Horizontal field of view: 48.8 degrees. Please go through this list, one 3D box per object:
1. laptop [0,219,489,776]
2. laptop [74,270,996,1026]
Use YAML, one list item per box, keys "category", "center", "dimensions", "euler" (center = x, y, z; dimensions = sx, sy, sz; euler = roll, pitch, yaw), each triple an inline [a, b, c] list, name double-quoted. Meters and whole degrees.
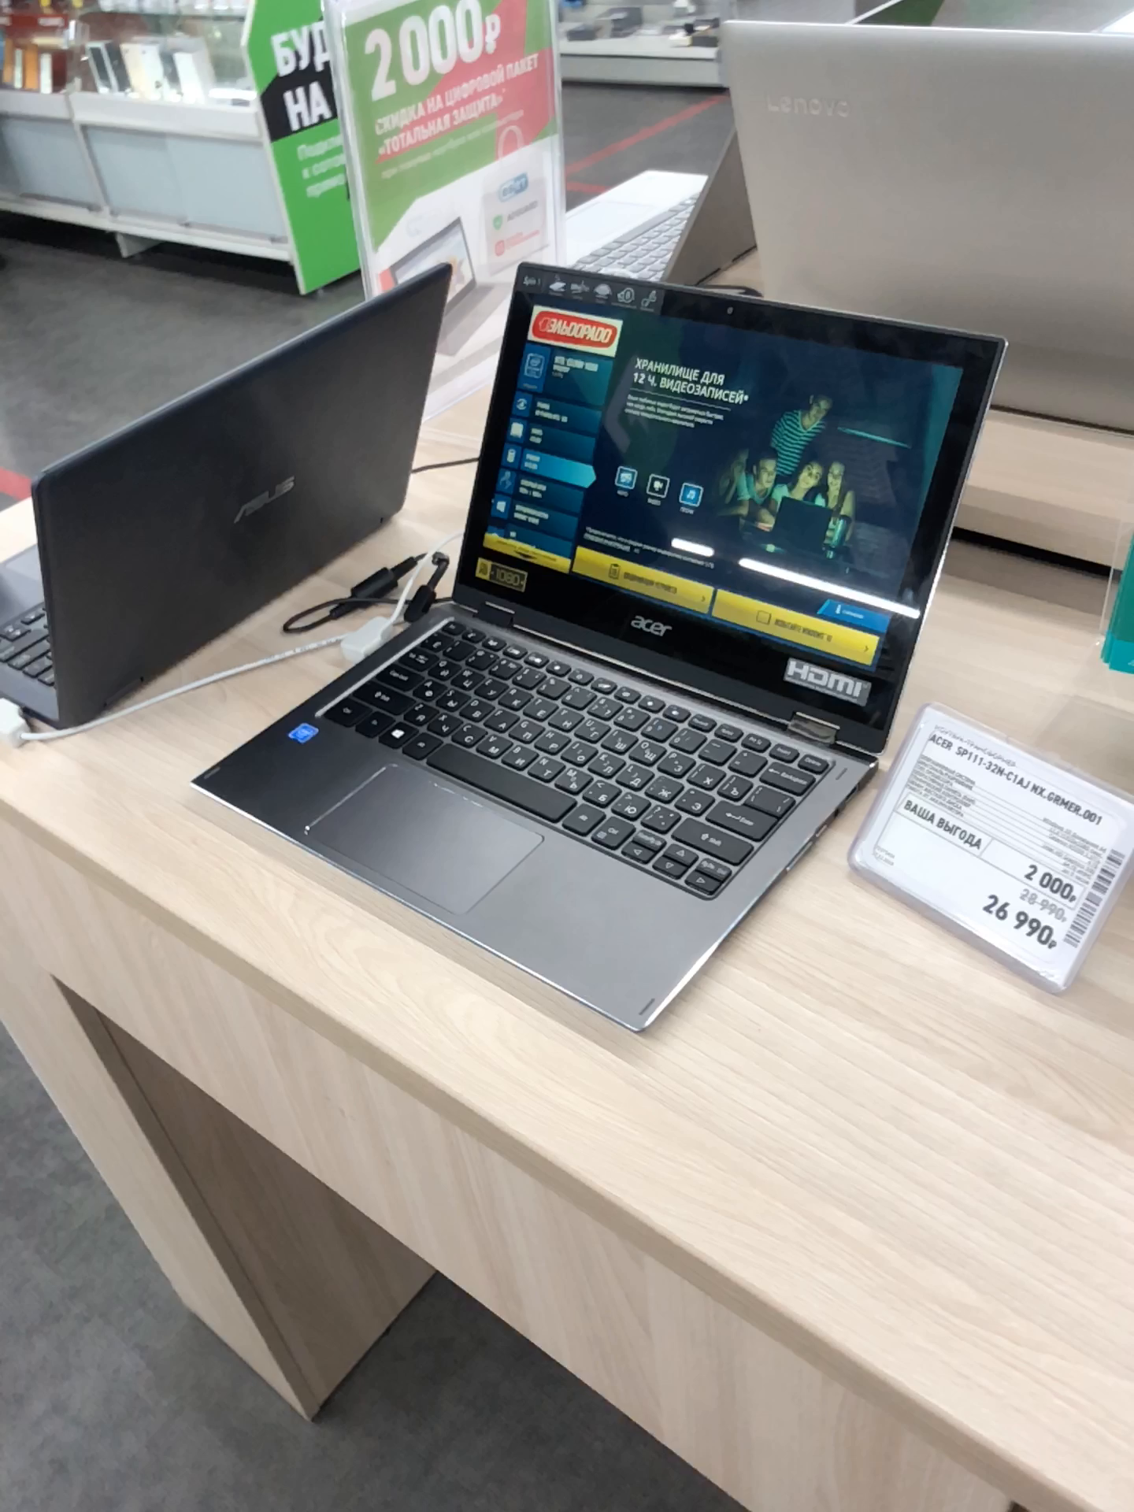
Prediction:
- category: "laptop"
  center: [-0.257, -0.180, 0.762]
  dimensions: [0.287, 0.174, 0.276]
  euler: [22, 48, 32]
- category: "laptop"
  center: [-0.001, -0.086, 0.610]
  dimensions: [0.287, 0.168, 0.304]
  euler: [23, 48, 32]
